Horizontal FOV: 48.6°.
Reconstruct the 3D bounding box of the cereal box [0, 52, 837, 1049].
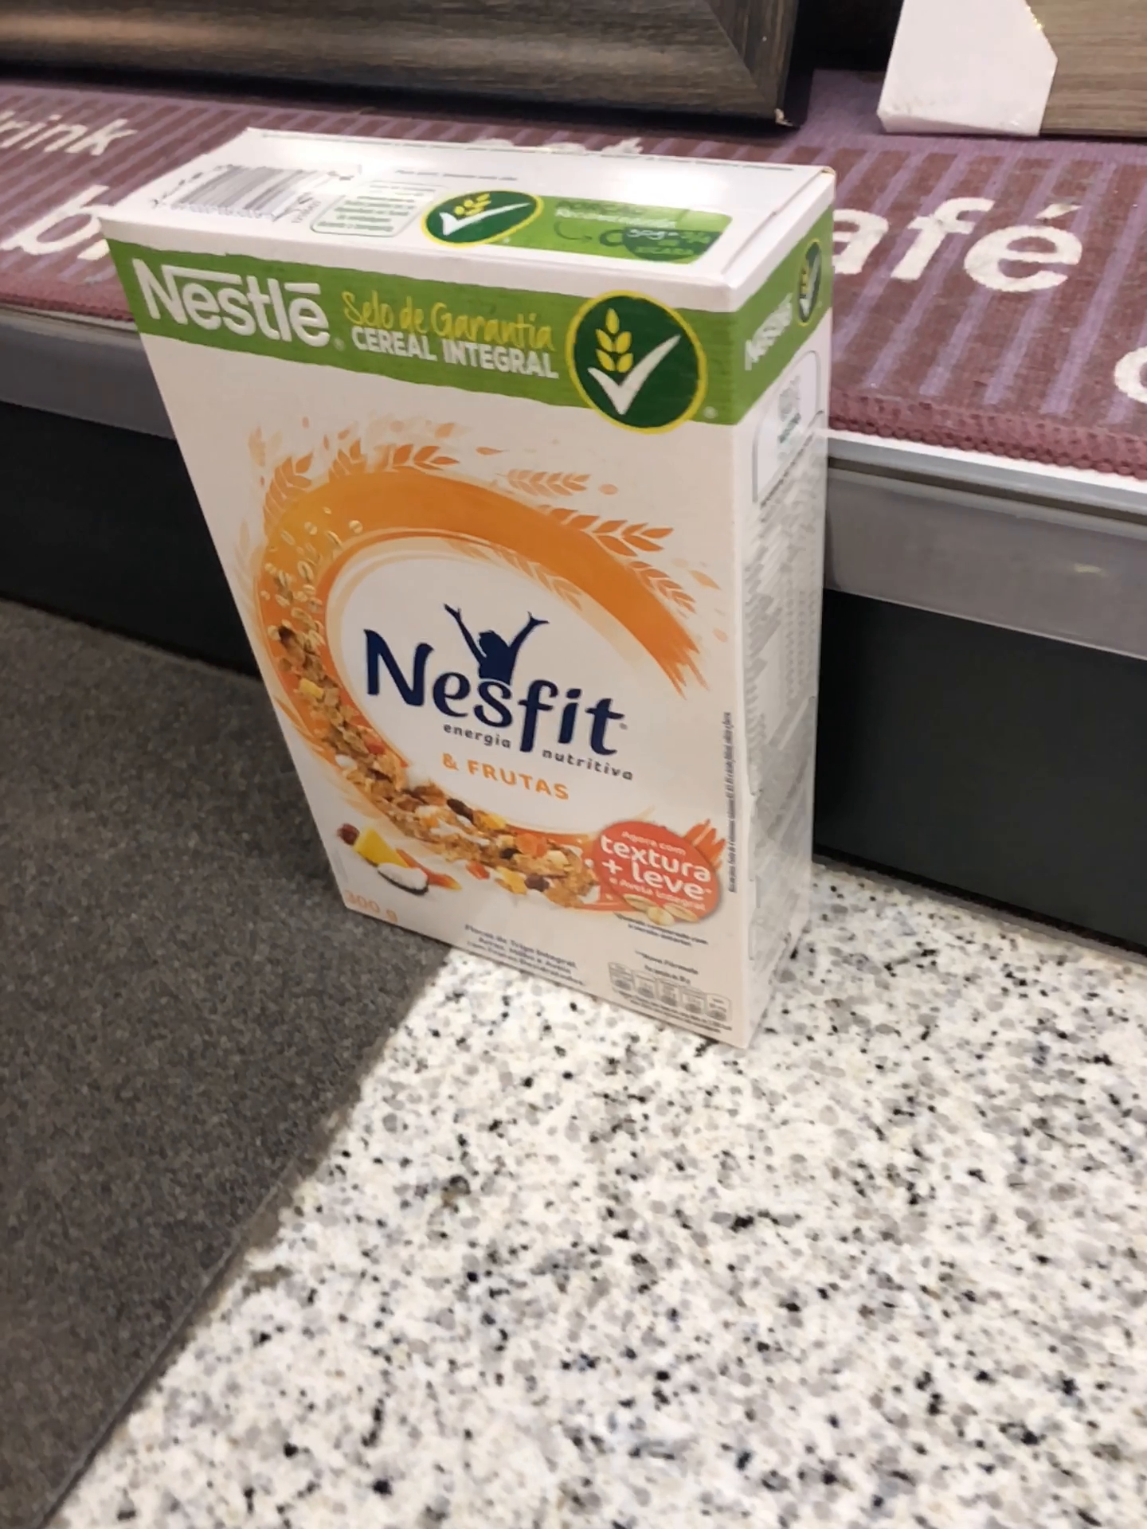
[{"bbox_3d":[-0.025,-0.043,0.341,0.170,0.248,0.060,15,50,23],"label":"cereal box"}]
